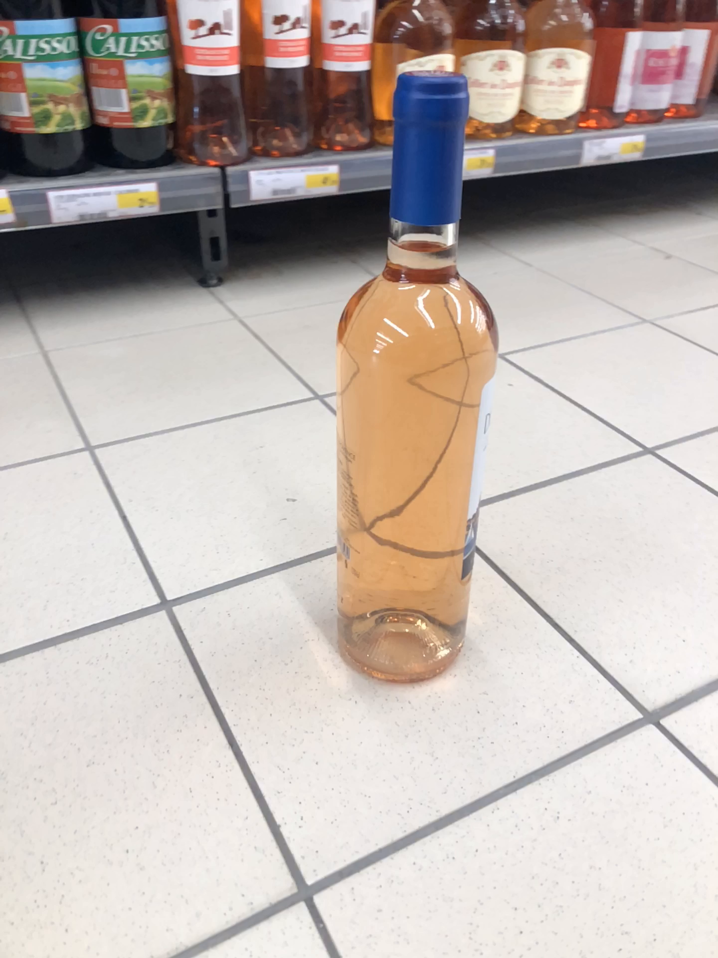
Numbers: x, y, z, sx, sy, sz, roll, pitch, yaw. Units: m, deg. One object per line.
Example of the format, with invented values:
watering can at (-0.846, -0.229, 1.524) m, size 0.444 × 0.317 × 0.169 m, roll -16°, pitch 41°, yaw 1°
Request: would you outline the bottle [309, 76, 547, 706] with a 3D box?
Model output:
bottle at (0.023, -0.025, 0.377) m, size 0.080 × 0.288 × 0.081 m, roll 1°, pitch 32°, yaw -1°
